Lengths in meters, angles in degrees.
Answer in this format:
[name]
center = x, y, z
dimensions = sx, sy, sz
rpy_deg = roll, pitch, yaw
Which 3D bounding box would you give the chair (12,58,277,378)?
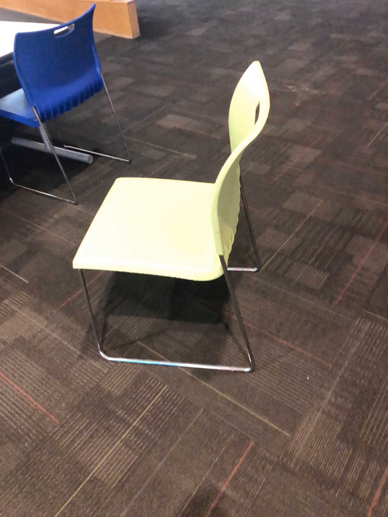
[chair]
center = -0.040, -0.110, 1.293
dimensions = 0.540, 0.756, 0.542
rpy_deg = 2, 42, 10
